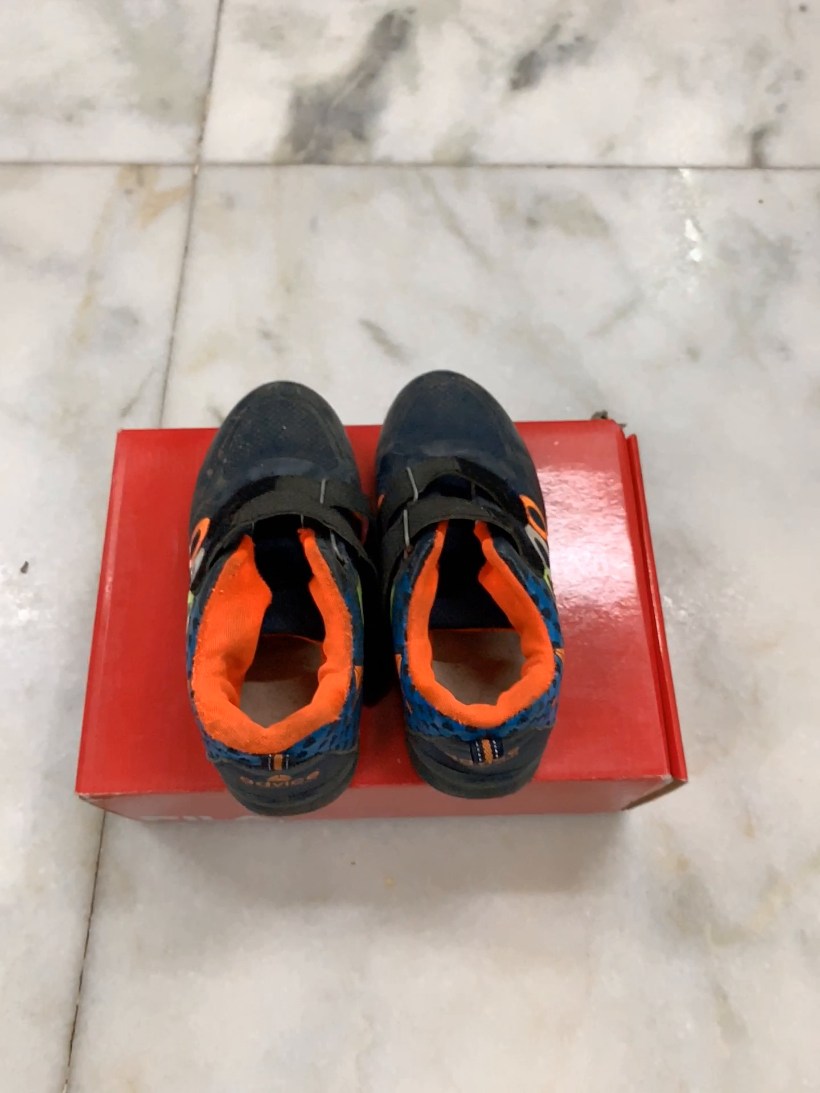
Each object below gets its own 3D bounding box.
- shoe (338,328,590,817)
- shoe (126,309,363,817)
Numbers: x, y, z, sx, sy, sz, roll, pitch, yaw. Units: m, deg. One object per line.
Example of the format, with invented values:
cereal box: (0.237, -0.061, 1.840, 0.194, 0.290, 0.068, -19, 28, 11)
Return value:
shoe: (0.016, 0.011, 0.402, 0.090, 0.090, 0.211, -3, 65, -2)
shoe: (-0.065, 0.004, 0.379, 0.080, 0.080, 0.211, -2, 65, -2)
